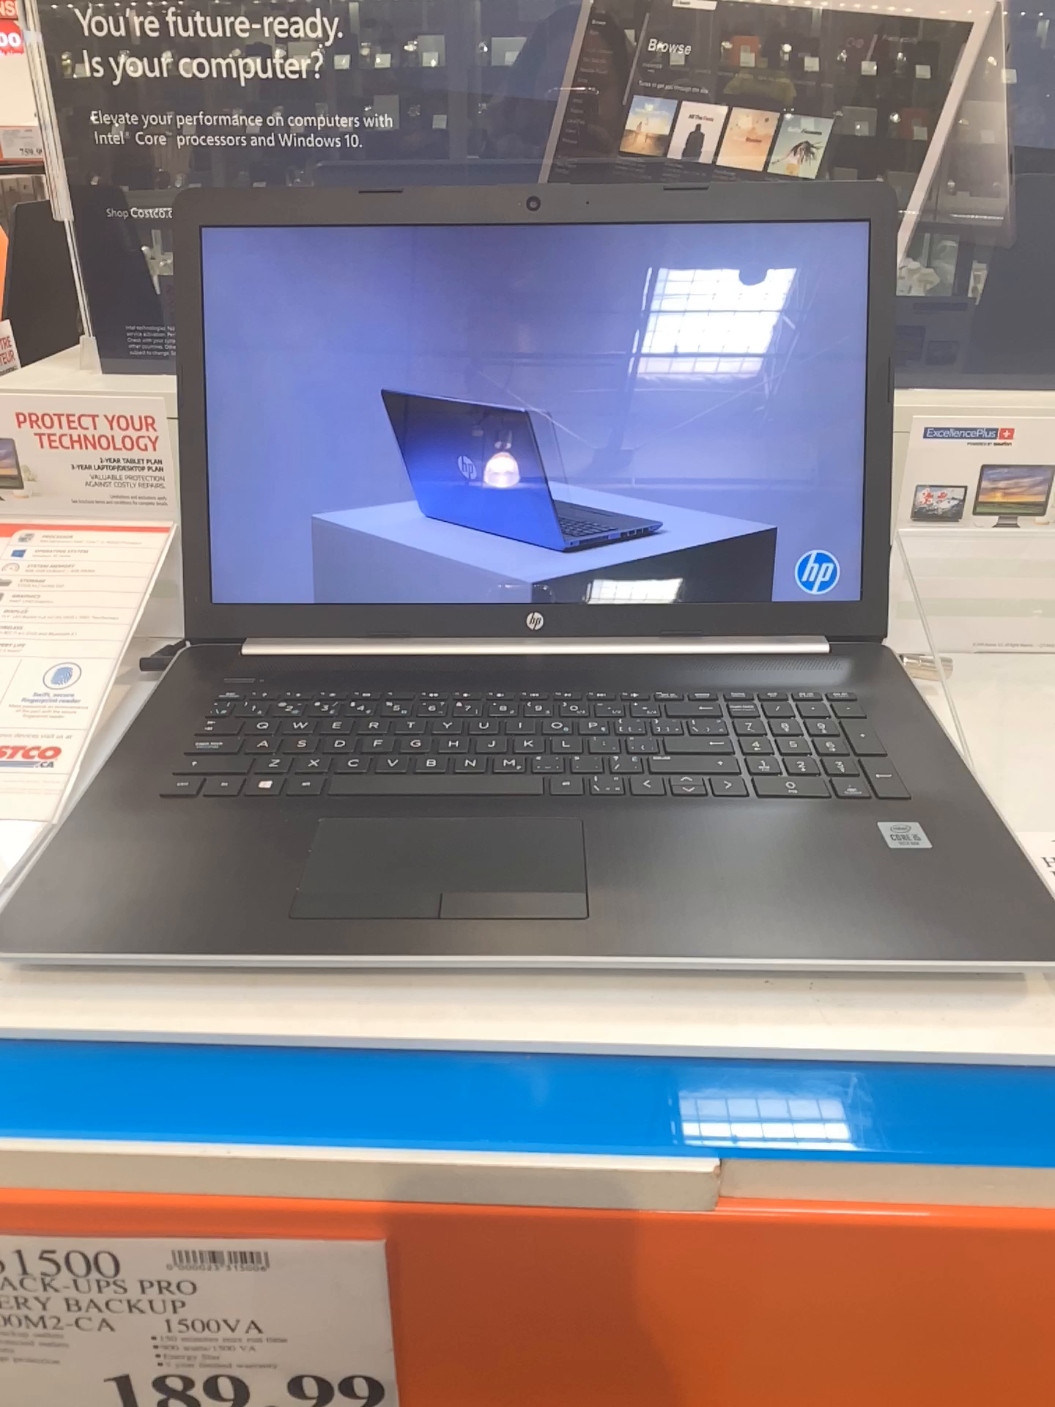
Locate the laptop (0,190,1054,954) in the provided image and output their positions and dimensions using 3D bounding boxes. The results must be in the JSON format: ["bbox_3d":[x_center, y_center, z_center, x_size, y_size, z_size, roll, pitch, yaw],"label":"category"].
[{"bbox_3d":[0.007,-0.100,0.497,0.394,0.234,0.372,0,27,1],"label":"laptop"}]
